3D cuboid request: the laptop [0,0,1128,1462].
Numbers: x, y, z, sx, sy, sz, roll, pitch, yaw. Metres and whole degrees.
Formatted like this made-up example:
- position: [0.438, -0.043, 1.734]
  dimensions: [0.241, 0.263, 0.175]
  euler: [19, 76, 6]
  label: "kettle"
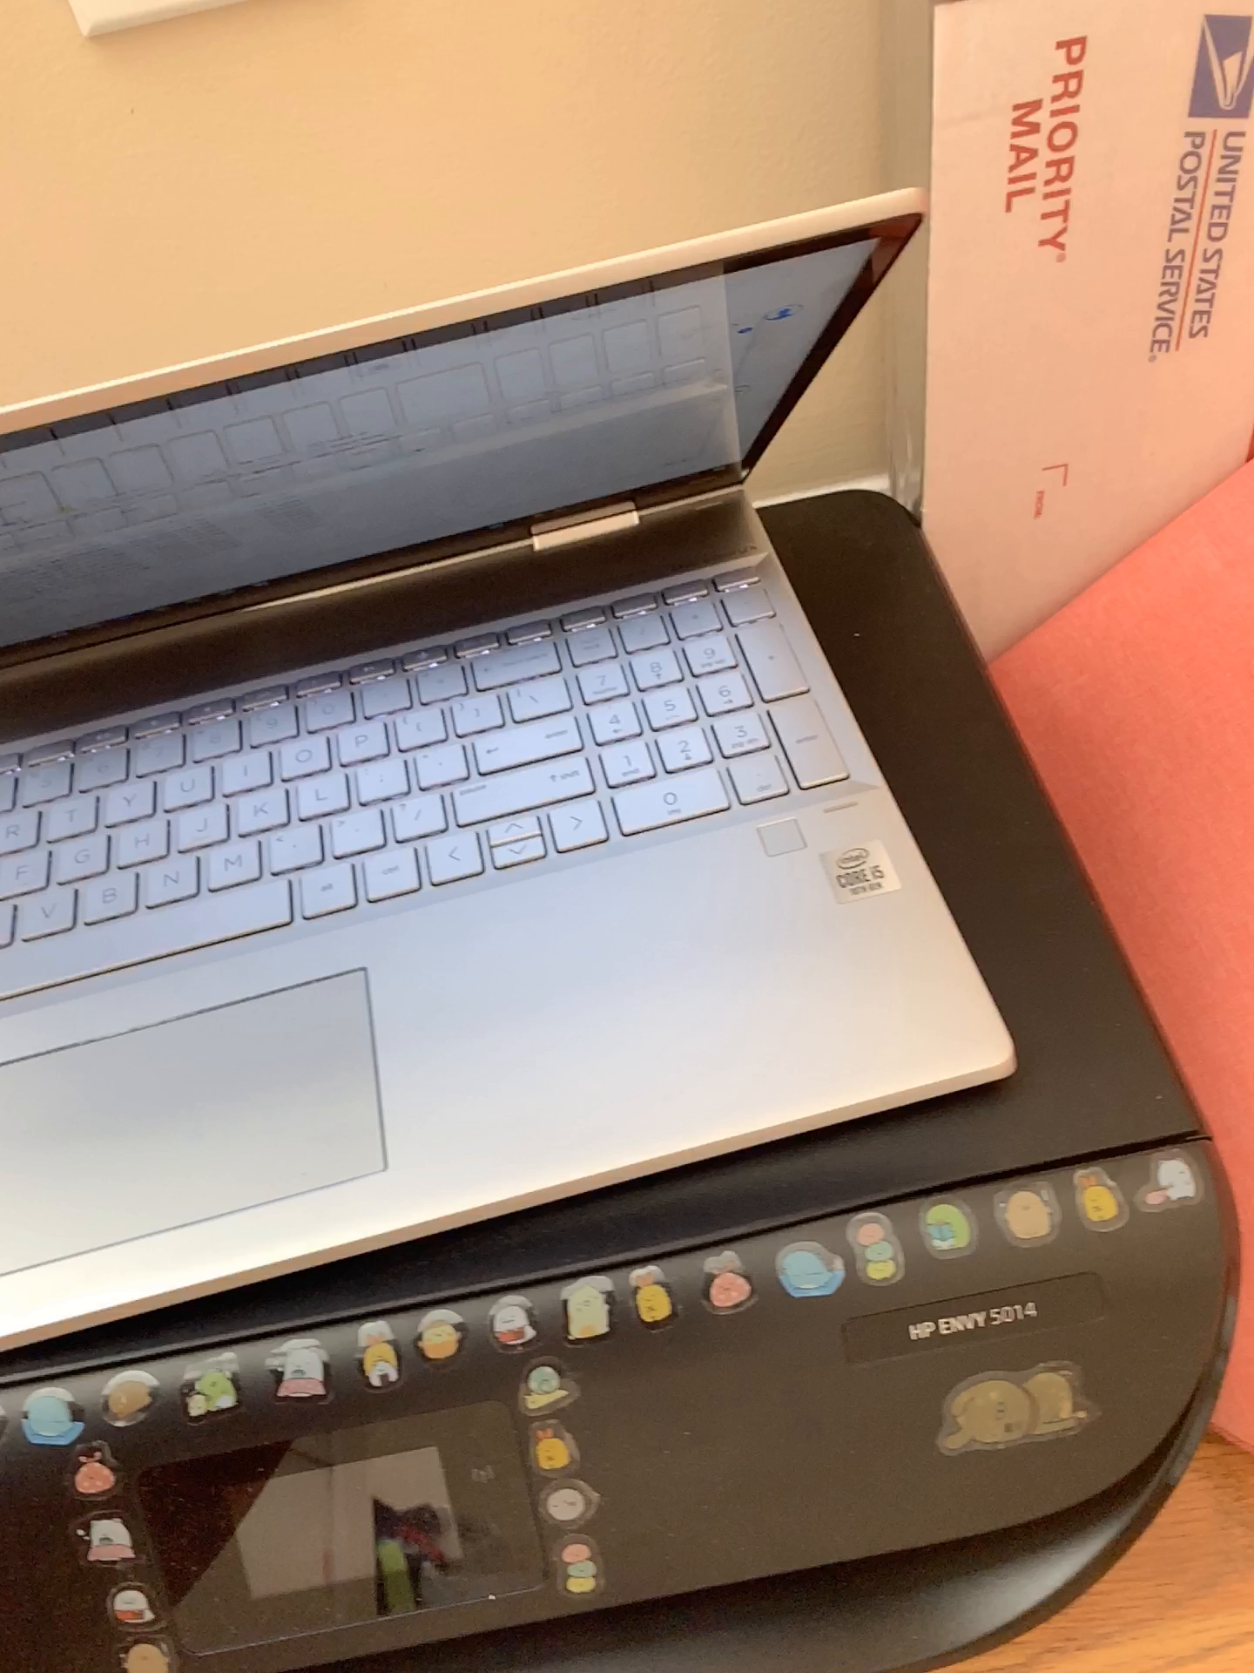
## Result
- position: [-0.115, -0.044, 0.309]
  dimensions: [0.350, 0.169, 0.237]
  euler: [-15, 50, -2]
  label: "laptop"
